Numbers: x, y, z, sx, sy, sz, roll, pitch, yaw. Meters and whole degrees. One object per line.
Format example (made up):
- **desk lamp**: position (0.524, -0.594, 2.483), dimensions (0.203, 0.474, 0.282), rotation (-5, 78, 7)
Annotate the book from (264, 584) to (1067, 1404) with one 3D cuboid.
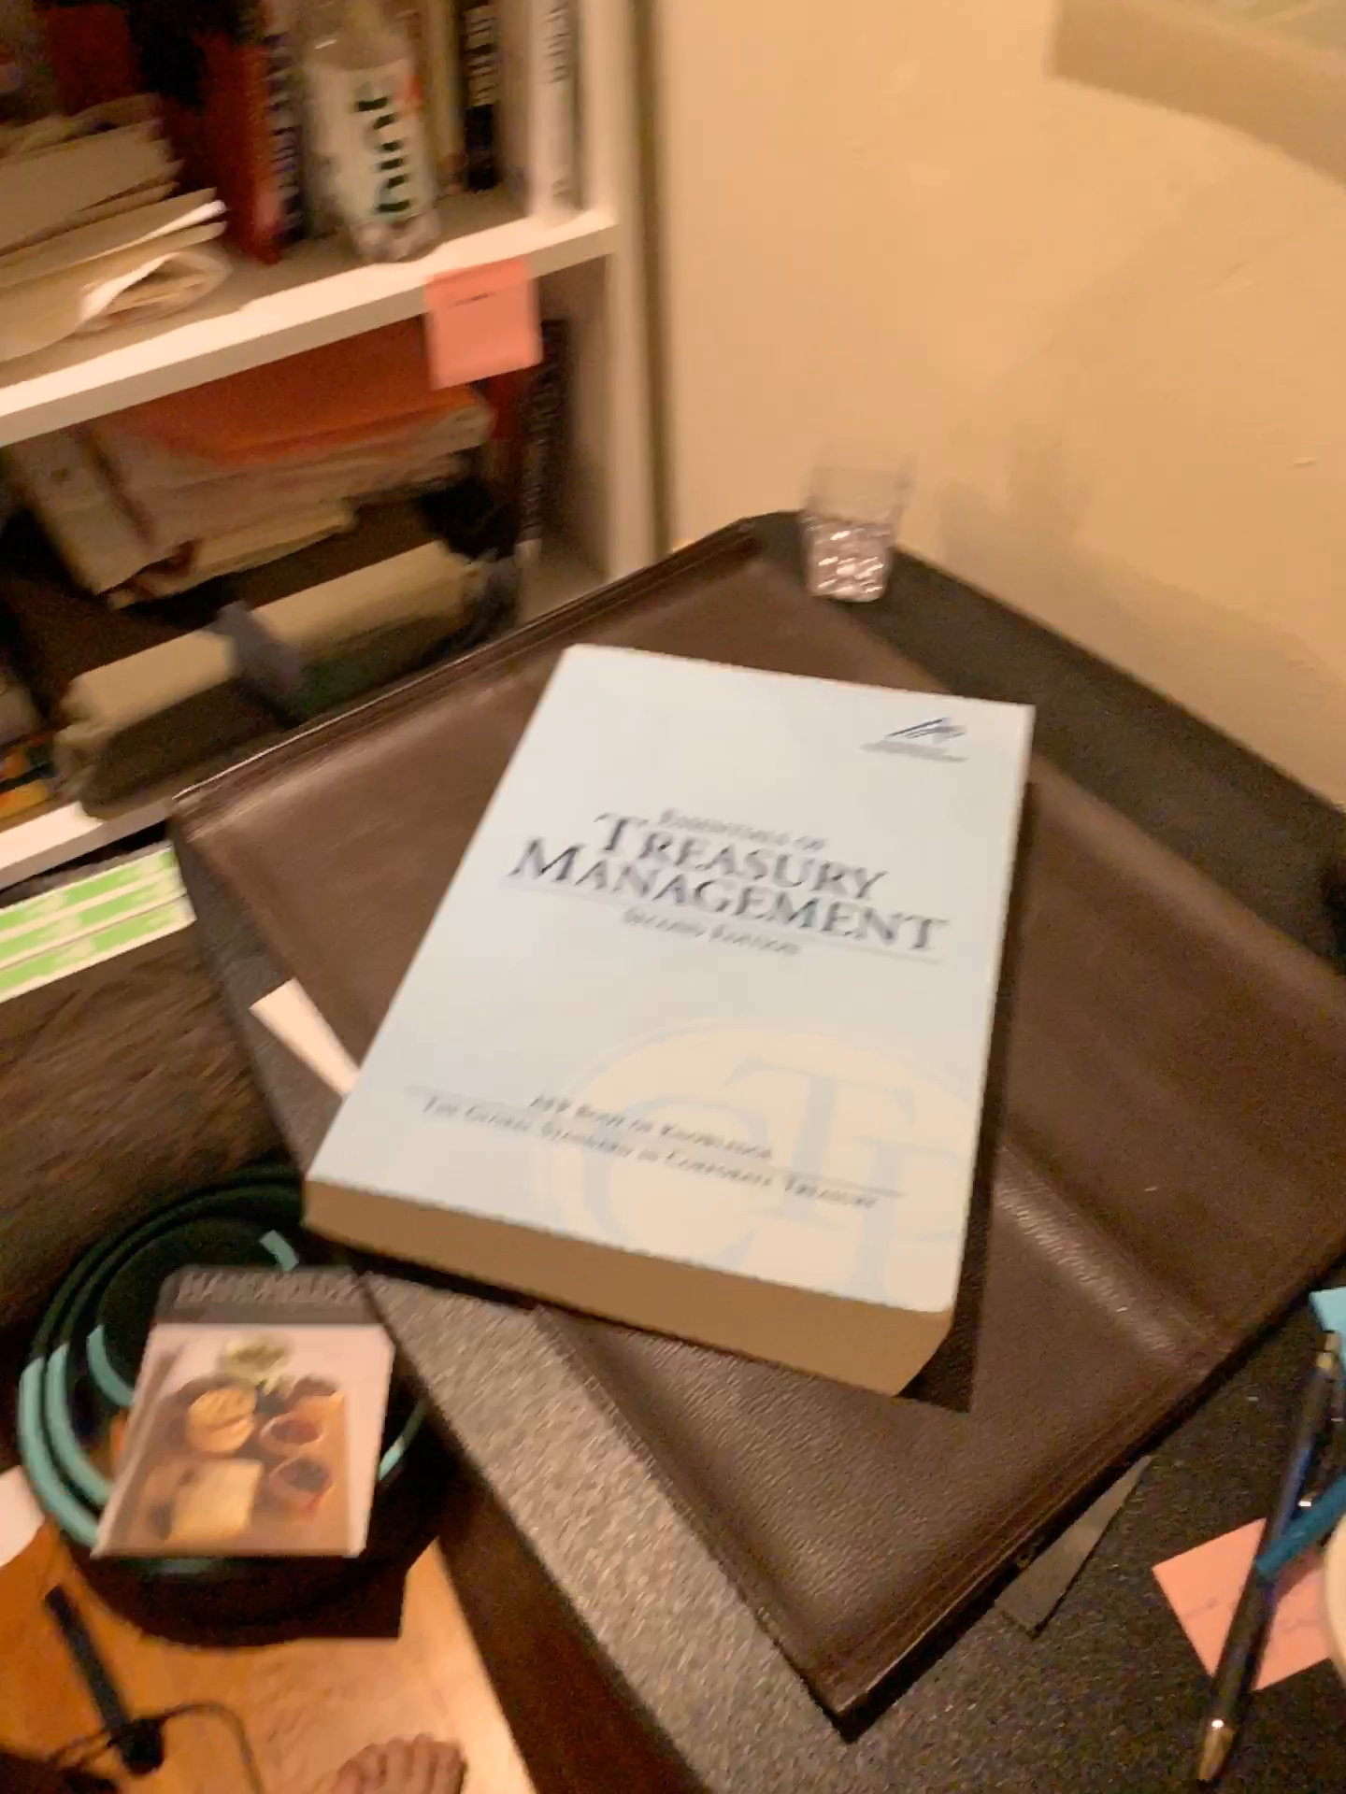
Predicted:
- **book**: position (0.019, 0.009, 0.530), dimensions (0.220, 0.060, 0.301), rotation (11, 50, 12)
